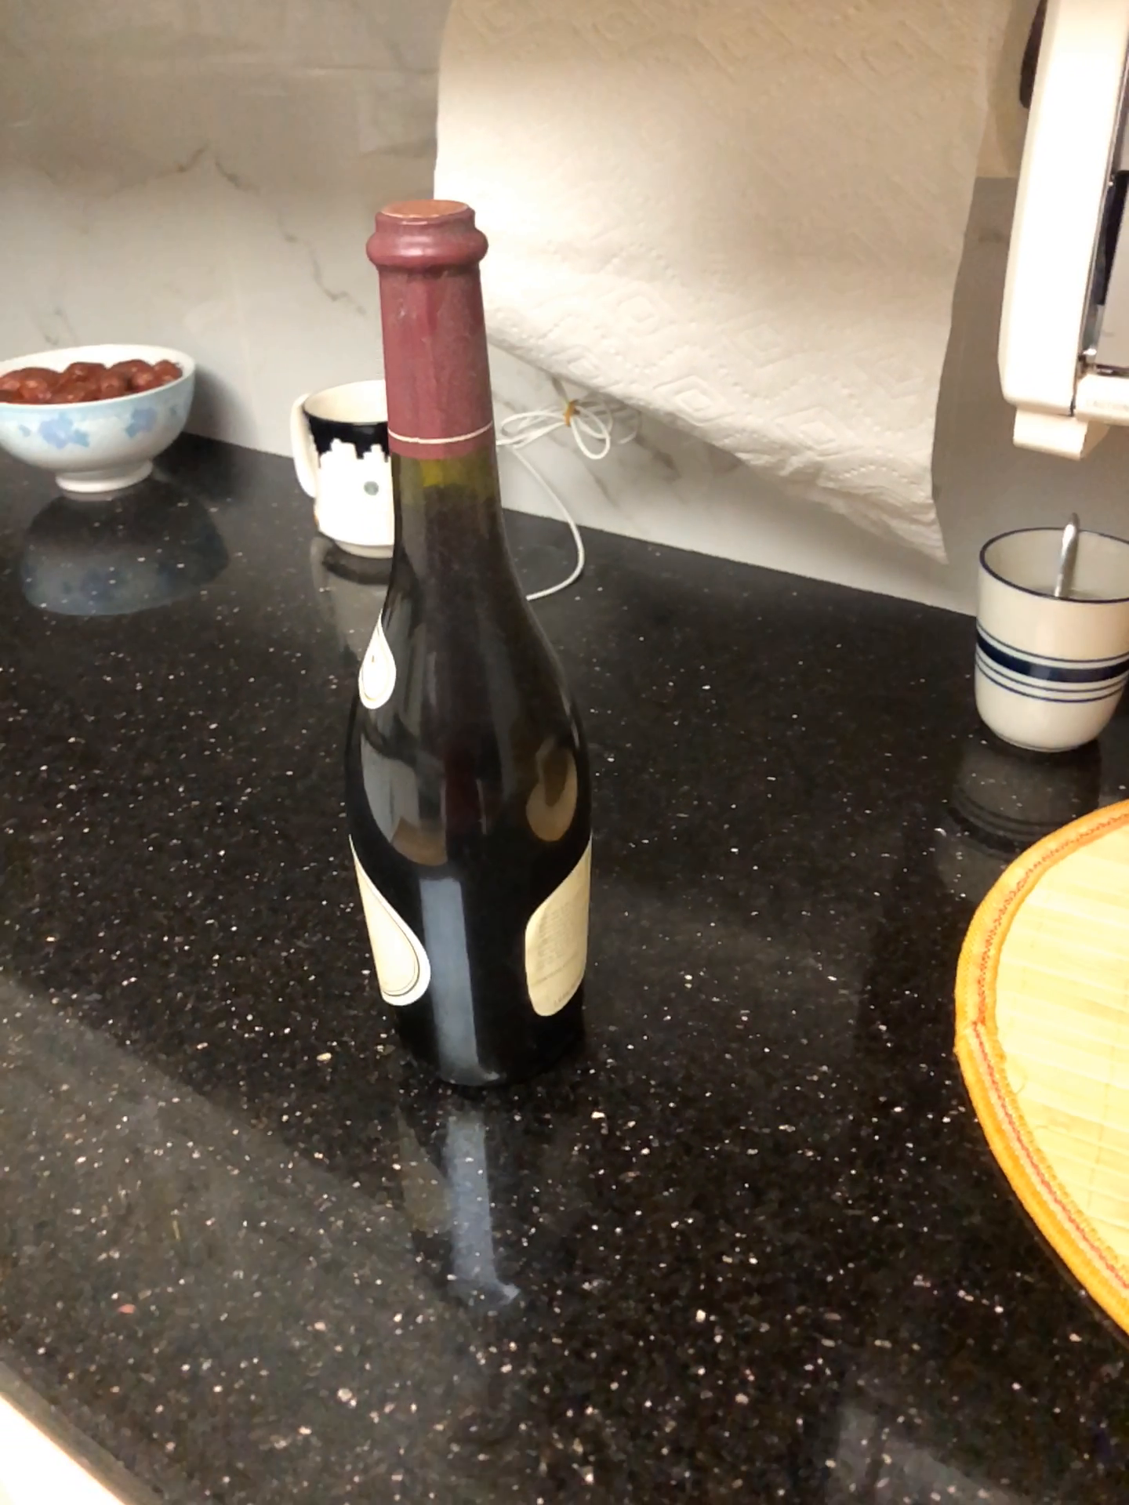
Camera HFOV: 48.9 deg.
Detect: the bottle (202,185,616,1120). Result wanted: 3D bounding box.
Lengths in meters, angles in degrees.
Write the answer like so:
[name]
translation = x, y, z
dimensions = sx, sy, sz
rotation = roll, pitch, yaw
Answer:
[bottle]
translation = -0.035, -0.020, 0.427
dimensions = 0.090, 0.308, 0.091
rotation = -1, 33, 1
